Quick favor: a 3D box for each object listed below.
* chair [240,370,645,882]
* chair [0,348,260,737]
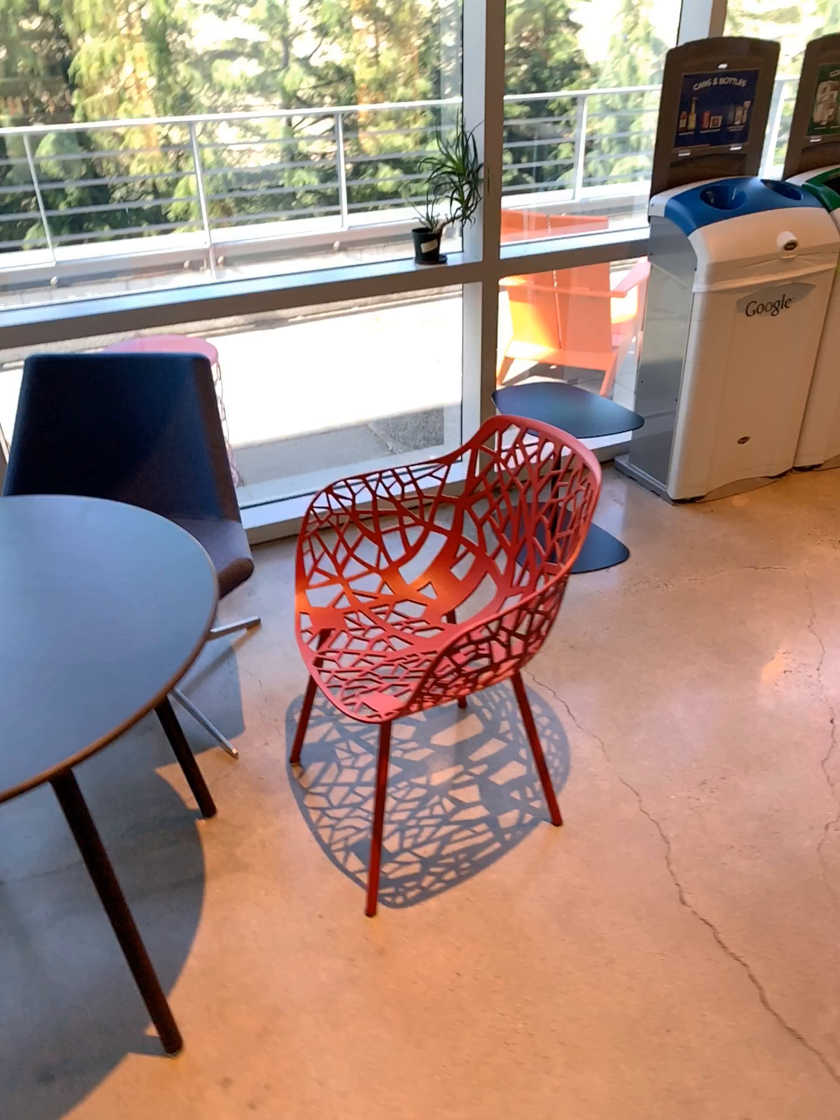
[{"bbox_3d":[0.024,0.105,1.790,0.560,0.766,0.553,-15,35,-21],"label":"chair"},{"bbox_3d":[-0.769,-0.051,2.070,0.560,0.766,0.513,2,32,5],"label":"chair"}]
